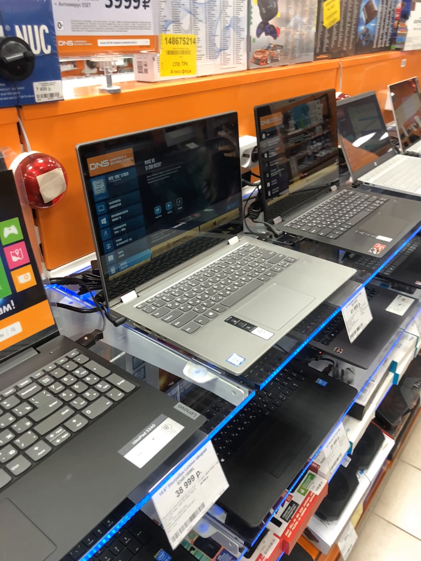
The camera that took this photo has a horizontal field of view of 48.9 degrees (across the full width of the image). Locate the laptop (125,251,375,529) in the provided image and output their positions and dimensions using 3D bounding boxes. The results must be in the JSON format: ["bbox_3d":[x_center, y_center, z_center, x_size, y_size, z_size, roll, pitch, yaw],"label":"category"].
[{"bbox_3d":[0.079,0.148,0.814,0.263,0.207,0.369,21,36,31],"label":"laptop"}]

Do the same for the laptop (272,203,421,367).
[{"bbox_3d":[0.337,-0.010,1.096,0.237,0.213,0.309,22,37,35],"label":"laptop"}]

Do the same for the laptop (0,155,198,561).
[{"bbox_3d":[-0.207,0.058,0.354,0.279,0.212,0.306,19,32,29],"label":"laptop"}]

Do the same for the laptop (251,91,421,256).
[{"bbox_3d":[0.274,-0.226,0.891,0.248,0.209,0.291,22,36,33],"label":"laptop"}]

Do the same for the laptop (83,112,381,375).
[{"bbox_3d":[0.040,-0.085,0.638,0.238,0.212,0.316,22,36,33],"label":"laptop"}]

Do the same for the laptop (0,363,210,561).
[{"bbox_3d":[-0.213,0.329,0.500,0.239,0.235,0.380,22,36,33],"label":"laptop"}]
